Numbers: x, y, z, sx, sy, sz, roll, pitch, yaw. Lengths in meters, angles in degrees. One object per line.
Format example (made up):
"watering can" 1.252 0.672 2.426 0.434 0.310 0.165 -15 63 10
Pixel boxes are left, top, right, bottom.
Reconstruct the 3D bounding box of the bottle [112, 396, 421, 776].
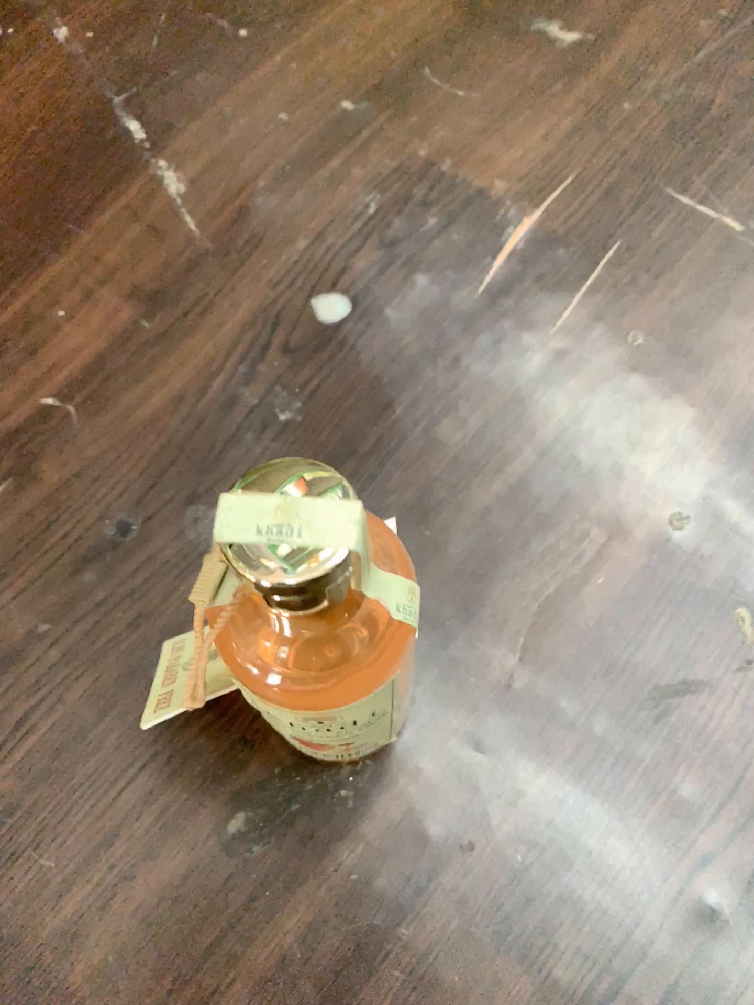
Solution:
"bottle" -0.016 0.035 0.205 0.050 0.150 0.050 0 64 1
